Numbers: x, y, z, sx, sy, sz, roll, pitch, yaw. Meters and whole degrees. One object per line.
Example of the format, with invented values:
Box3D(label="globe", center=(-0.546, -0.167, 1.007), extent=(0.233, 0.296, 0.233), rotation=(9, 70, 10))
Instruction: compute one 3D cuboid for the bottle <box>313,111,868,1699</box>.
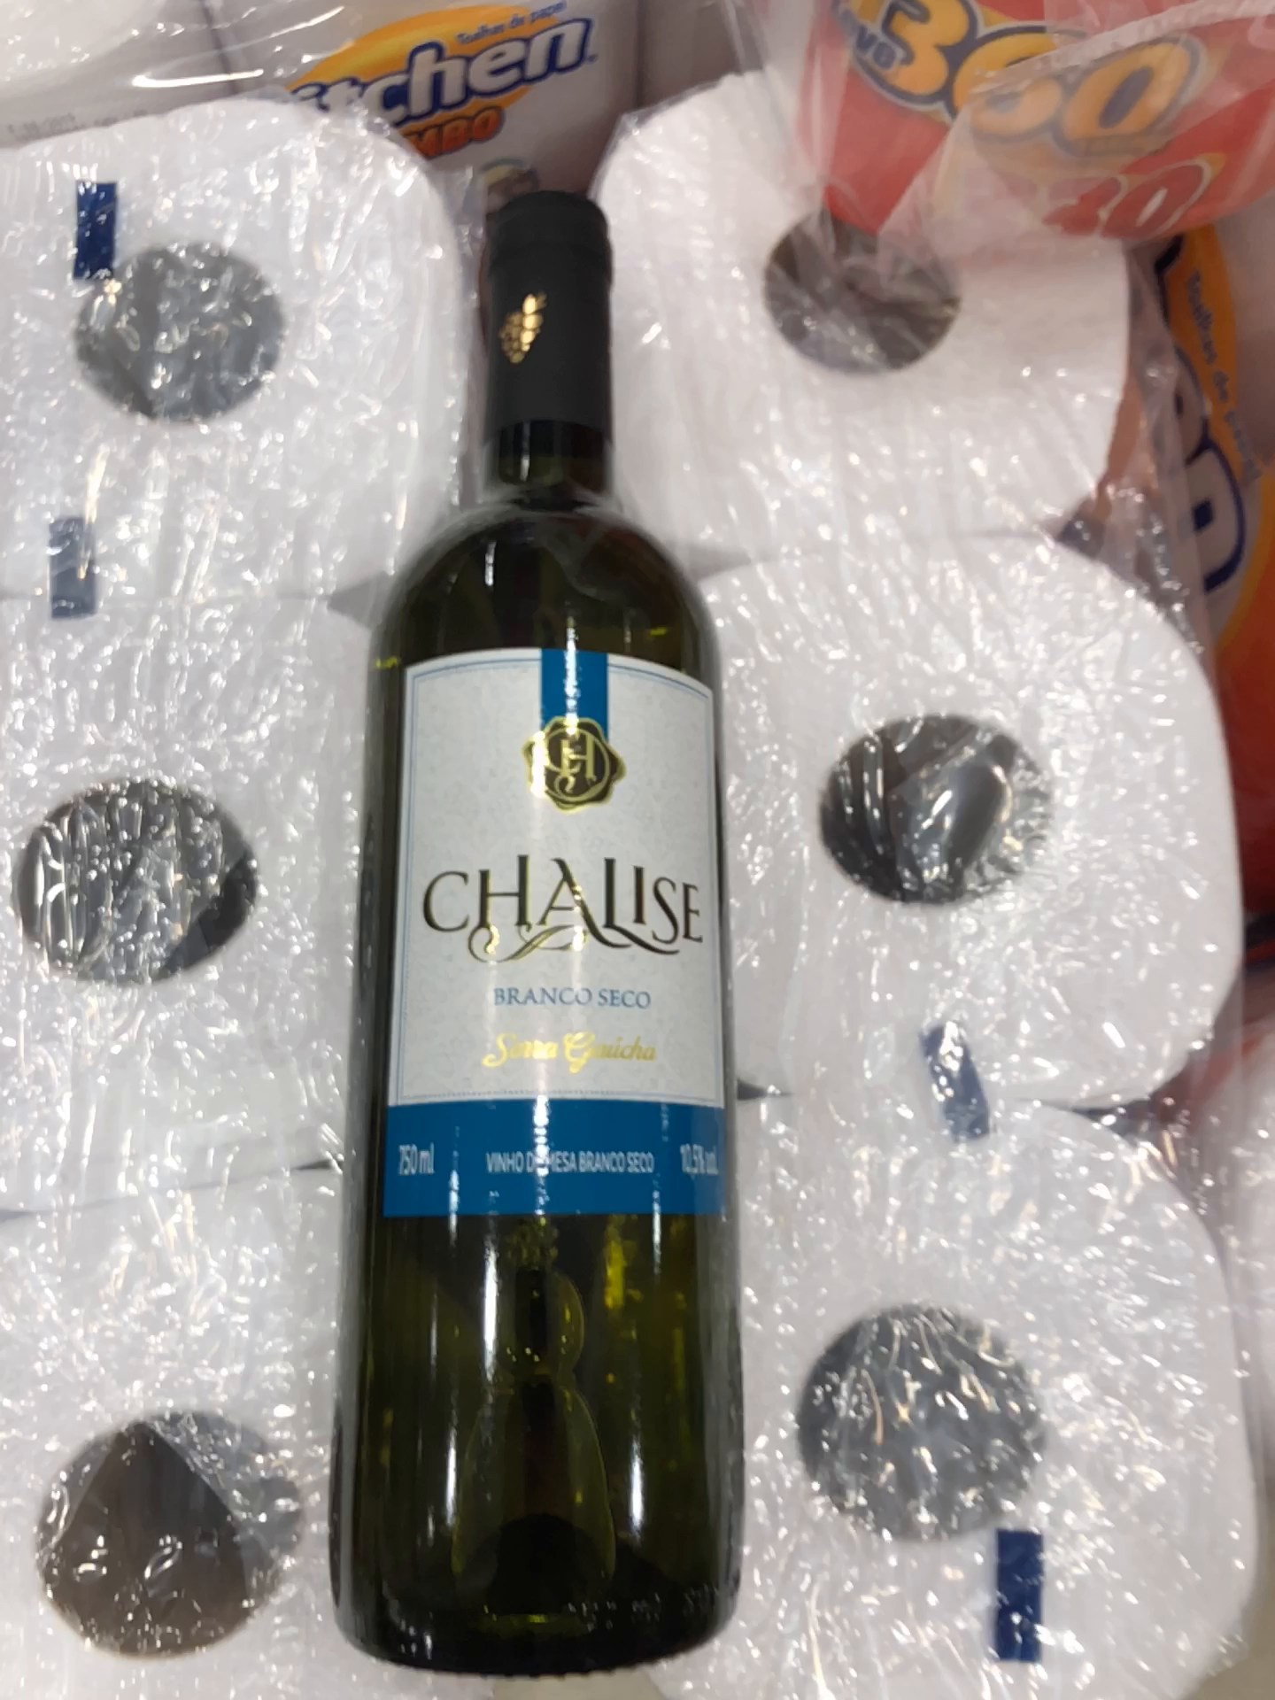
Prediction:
Box3D(label="bottle", center=(-0.011, 0.004, 0.273), extent=(0.080, 0.060, 0.280), rotation=(4, 74, -14))
